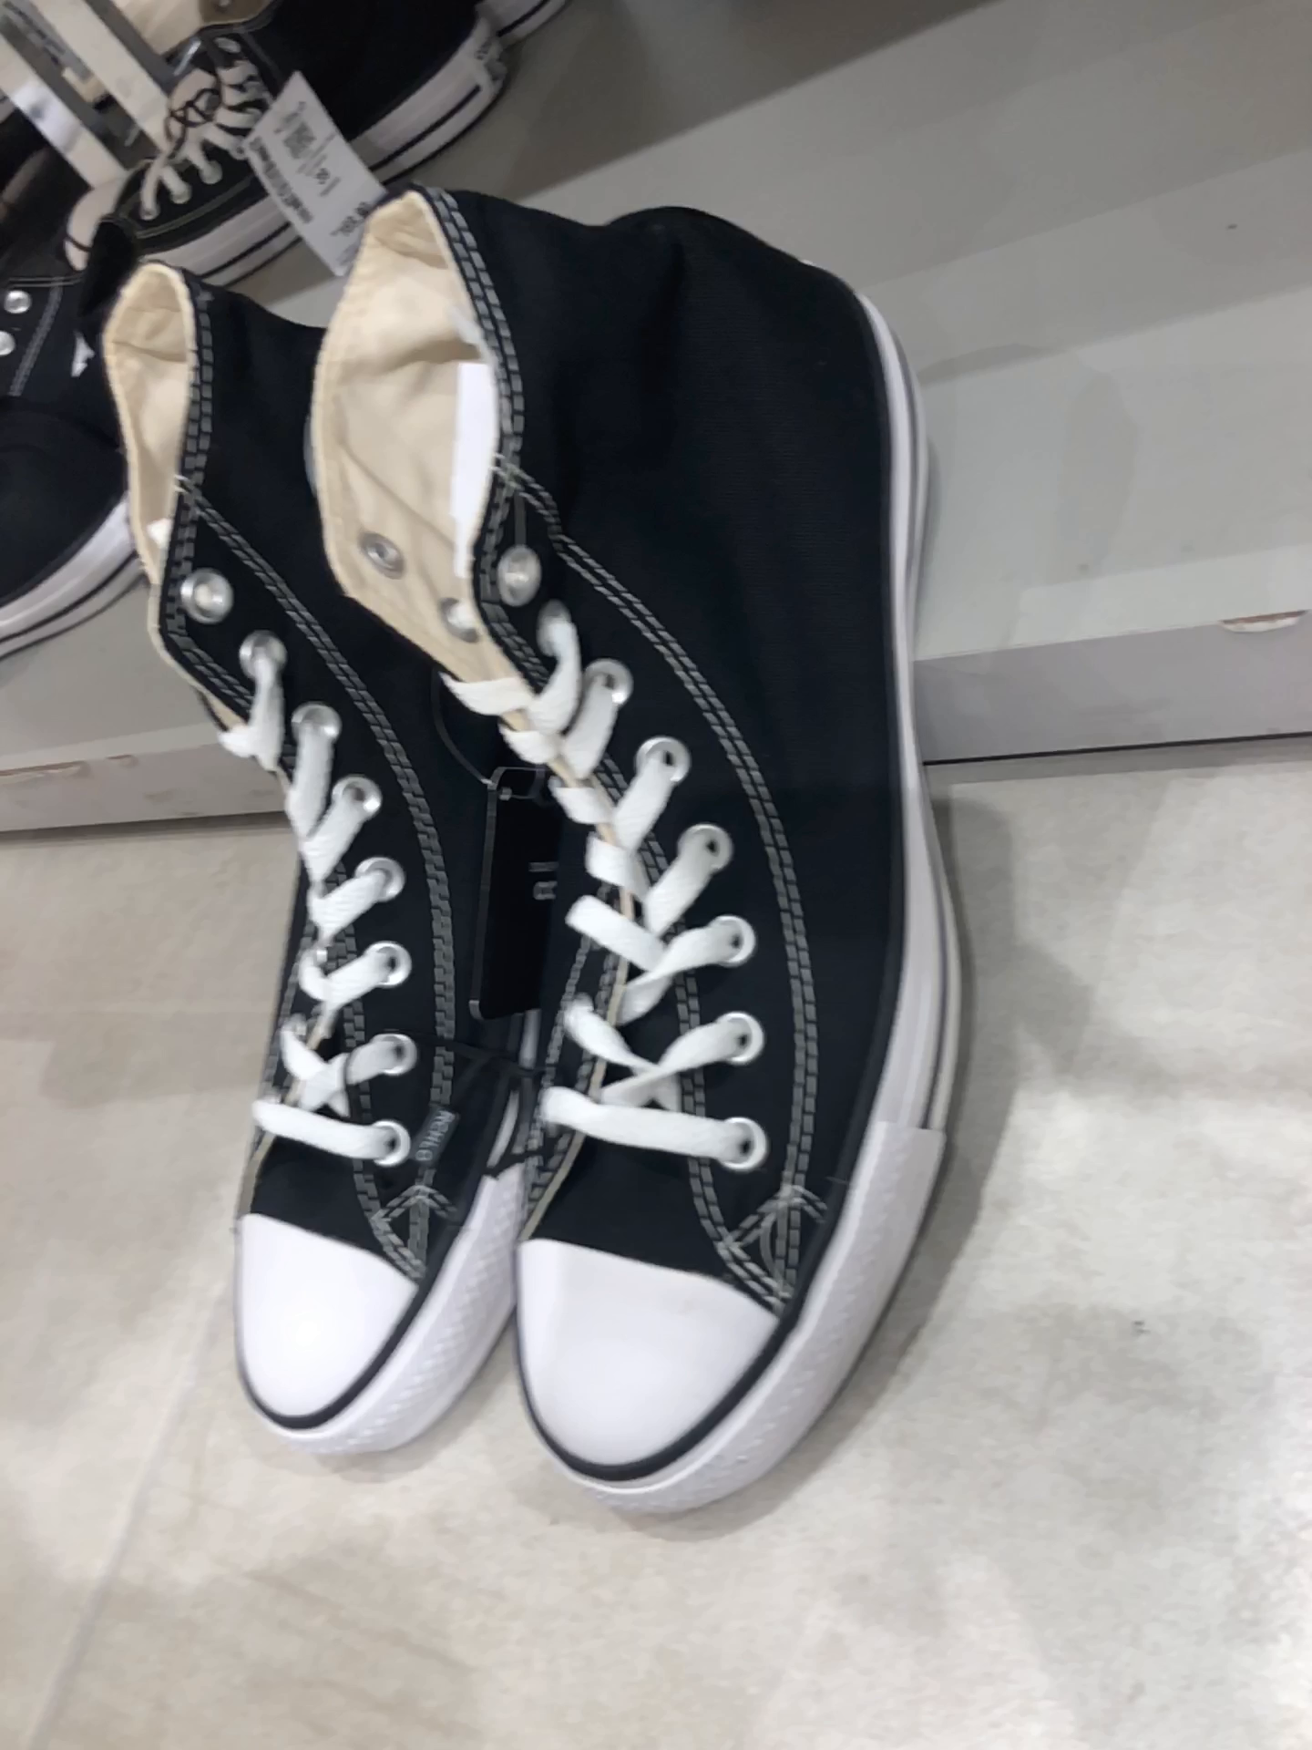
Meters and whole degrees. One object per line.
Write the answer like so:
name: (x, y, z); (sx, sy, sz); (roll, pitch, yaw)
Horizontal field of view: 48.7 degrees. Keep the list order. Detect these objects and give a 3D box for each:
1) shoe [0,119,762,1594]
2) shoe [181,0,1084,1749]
shoe: (-0.072, -0.004, 0.394); (0.120, 0.139, 0.310); (1, 84, 38)
shoe: (0.006, -0.020, 0.320); (0.120, 0.139, 0.330); (-1, 83, 37)
